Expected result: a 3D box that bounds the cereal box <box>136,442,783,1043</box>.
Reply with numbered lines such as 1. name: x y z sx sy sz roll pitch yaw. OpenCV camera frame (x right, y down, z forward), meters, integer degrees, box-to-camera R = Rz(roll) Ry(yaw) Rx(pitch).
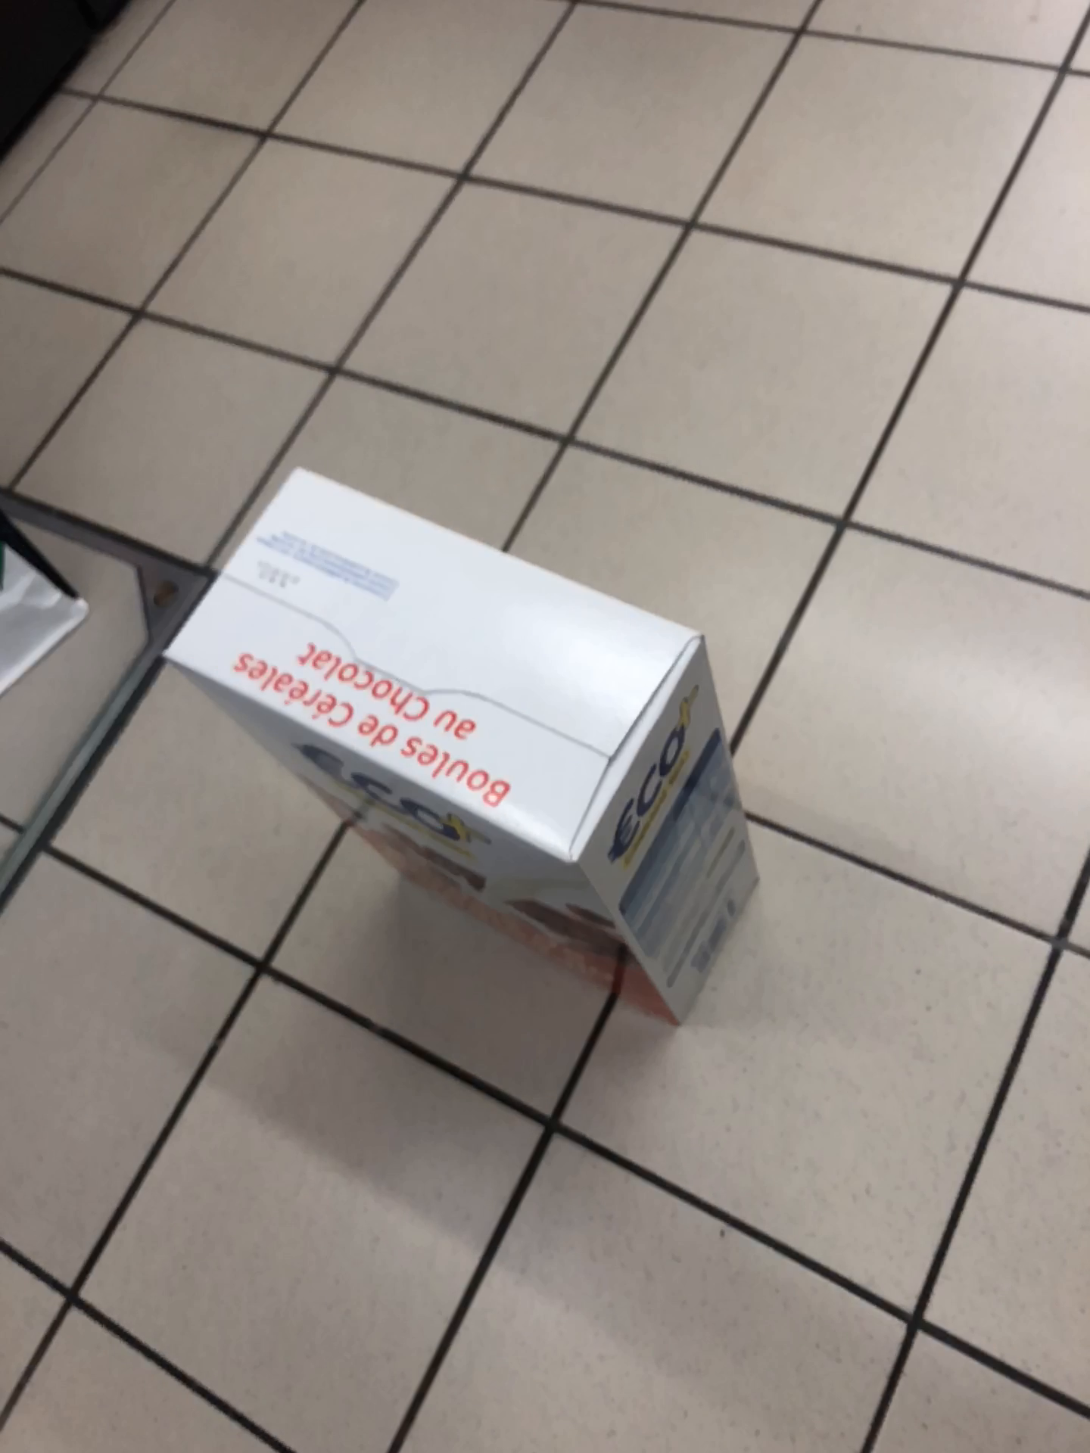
1. cereal box: -0.013 0.027 0.574 0.210 0.299 0.100 25 74 23
